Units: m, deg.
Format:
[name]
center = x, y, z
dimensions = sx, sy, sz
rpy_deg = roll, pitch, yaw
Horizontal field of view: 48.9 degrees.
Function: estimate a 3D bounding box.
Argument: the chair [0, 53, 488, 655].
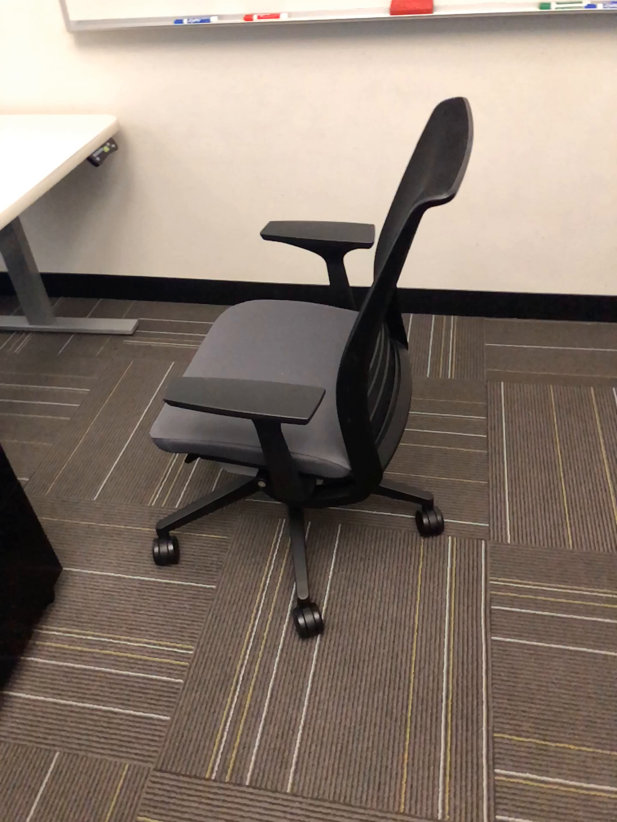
[chair]
center = -0.046, -0.121, 1.365
dimensions = 0.680, 0.905, 0.723
rpy_deg = 3, 40, 10
